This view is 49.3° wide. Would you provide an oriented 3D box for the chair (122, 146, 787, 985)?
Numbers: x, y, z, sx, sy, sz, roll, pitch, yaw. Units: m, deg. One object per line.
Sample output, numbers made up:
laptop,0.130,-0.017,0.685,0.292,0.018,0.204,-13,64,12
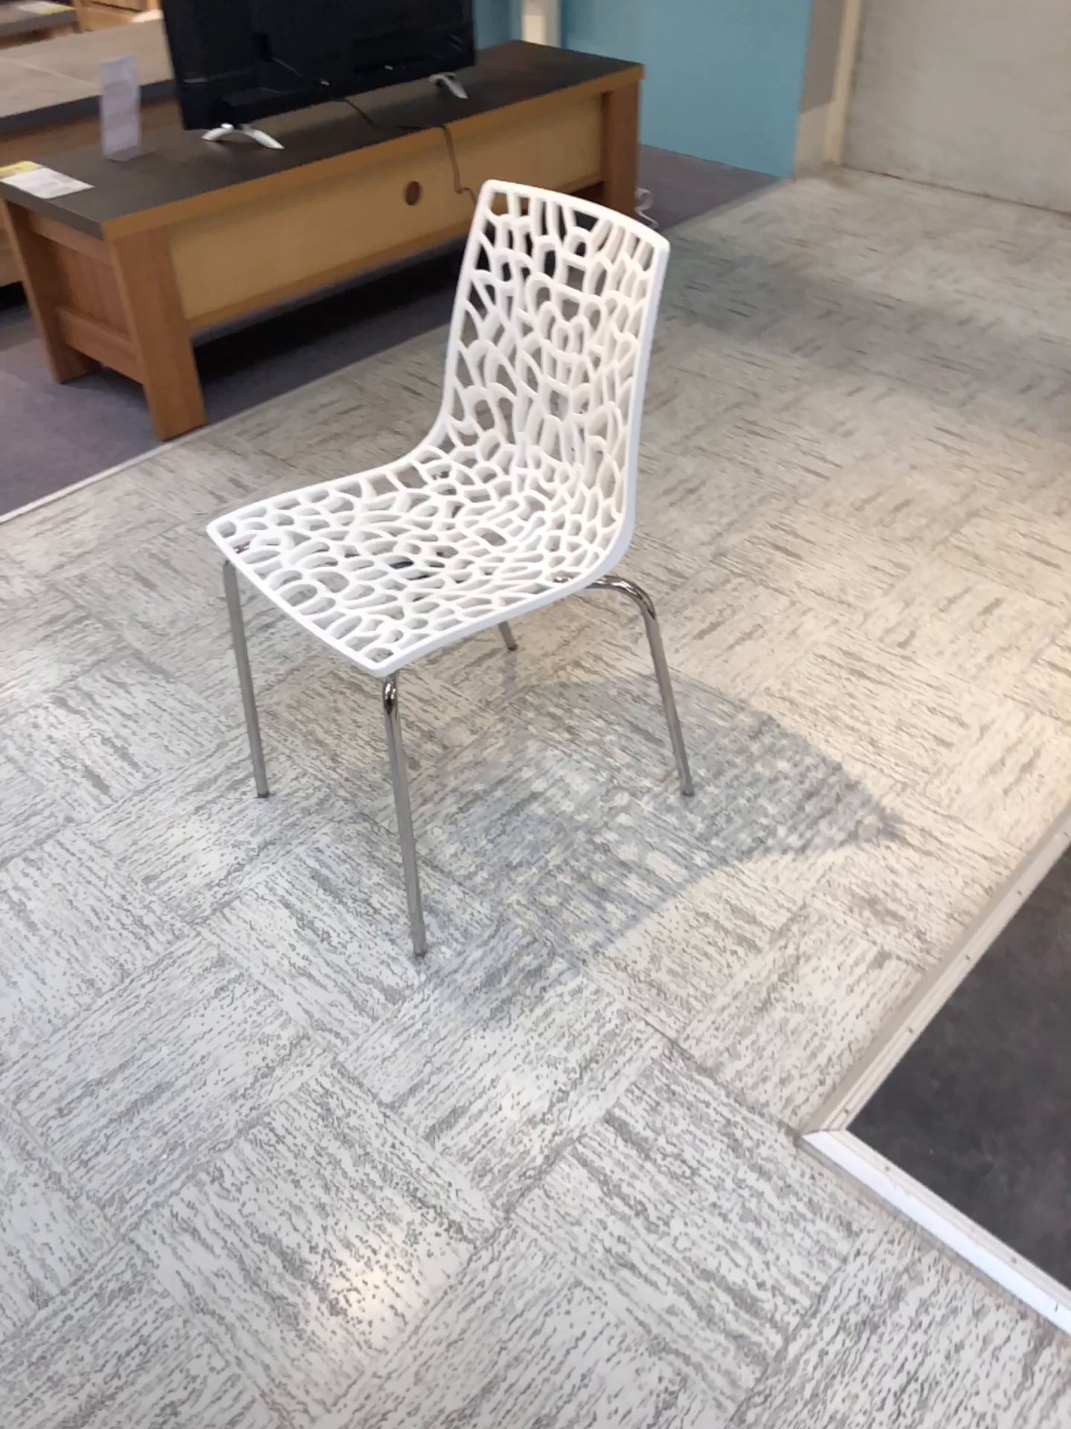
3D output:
chair,-0.079,-0.184,1.445,0.512,0.785,0.451,-28,48,-28
